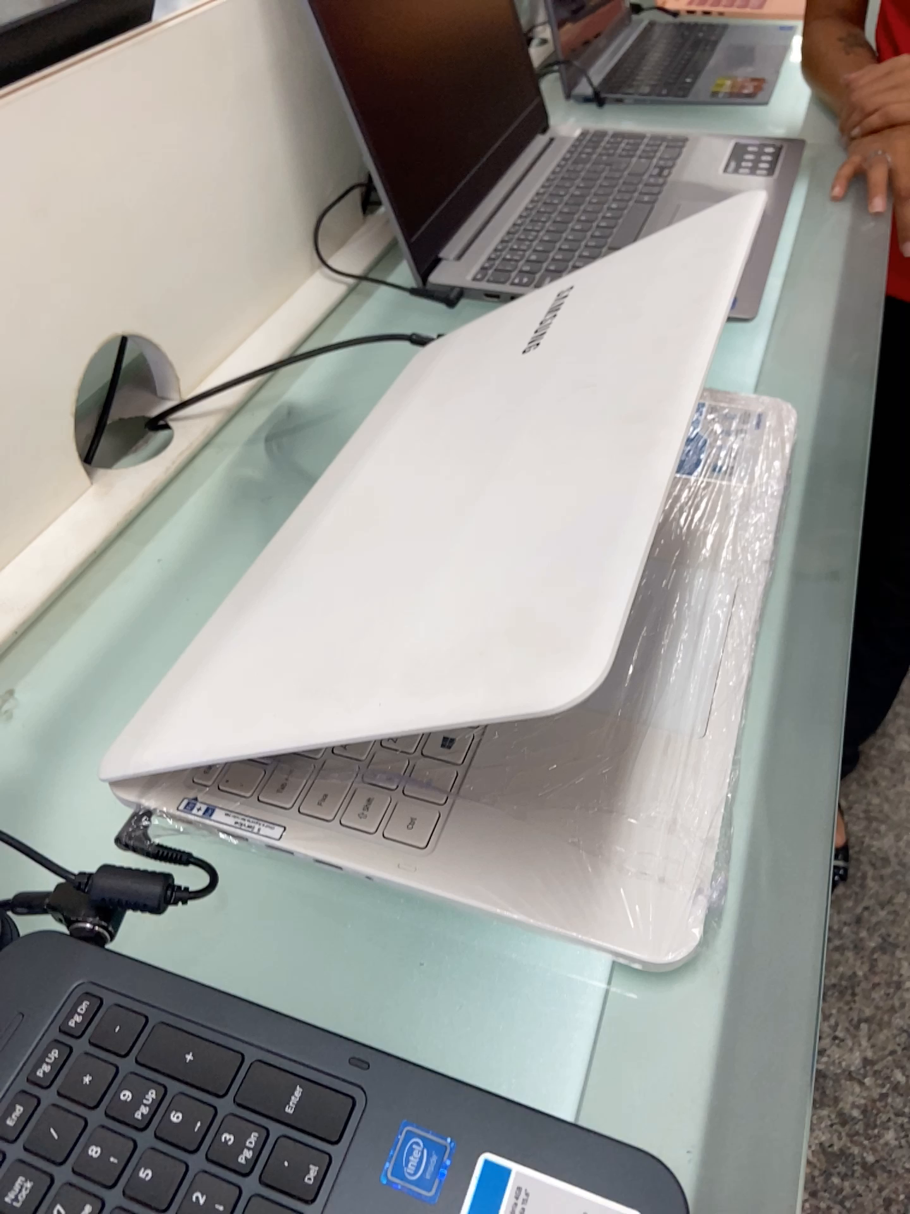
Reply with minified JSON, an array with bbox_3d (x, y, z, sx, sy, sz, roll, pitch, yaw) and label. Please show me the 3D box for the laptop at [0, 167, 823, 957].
[{"bbox_3d":[0.020,-0.072,0.442,0.247,0.129,0.374,11,45,16],"label":"laptop"}]
